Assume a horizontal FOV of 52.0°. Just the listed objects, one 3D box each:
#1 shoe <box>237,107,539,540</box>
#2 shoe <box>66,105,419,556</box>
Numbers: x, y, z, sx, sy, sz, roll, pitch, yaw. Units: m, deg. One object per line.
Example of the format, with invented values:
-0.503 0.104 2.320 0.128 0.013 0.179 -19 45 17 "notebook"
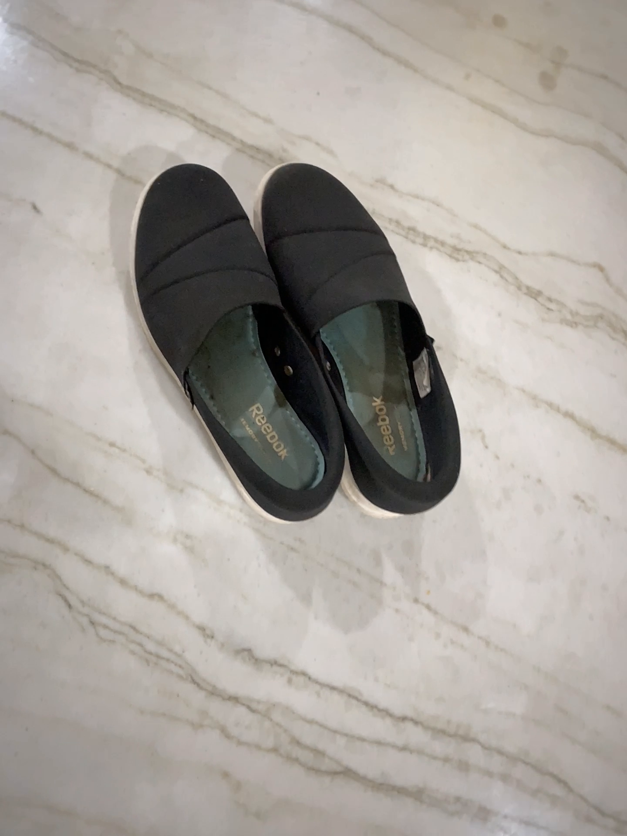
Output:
0.035 -0.052 0.389 0.091 0.079 0.229 -18 83 -11 "shoe"
-0.043 -0.046 0.377 0.091 0.079 0.229 -27 85 -12 "shoe"
